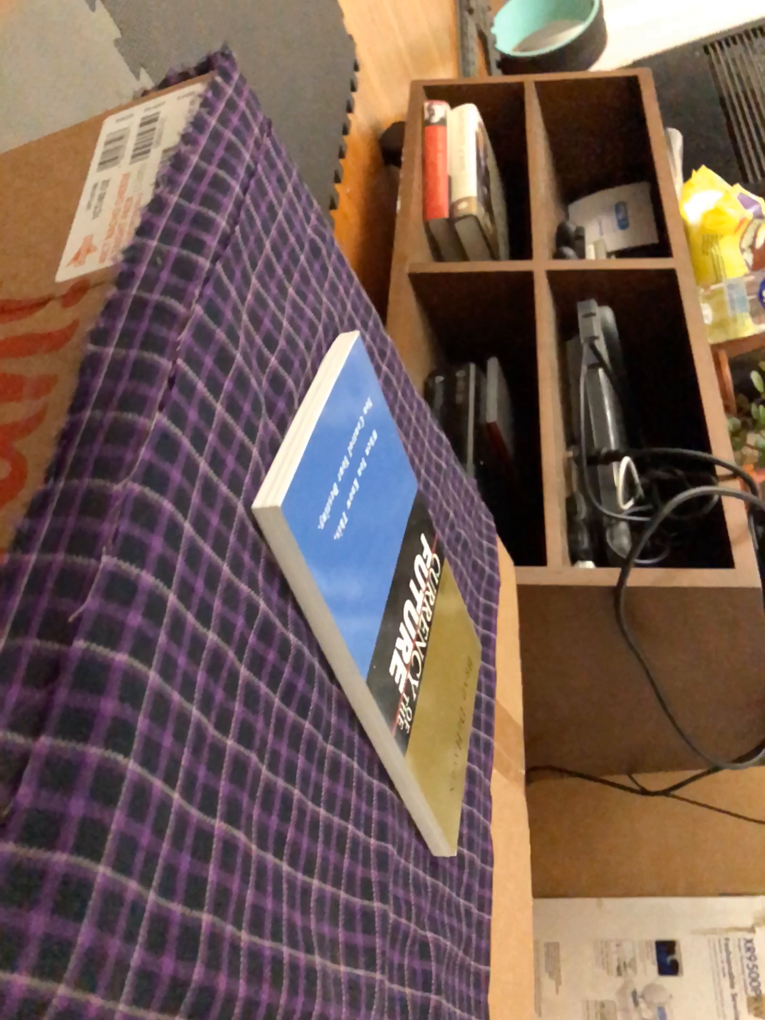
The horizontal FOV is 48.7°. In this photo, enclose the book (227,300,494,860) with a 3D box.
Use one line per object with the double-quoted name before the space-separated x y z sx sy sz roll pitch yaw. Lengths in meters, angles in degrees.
"book" 0.007 0.034 0.400 0.151 0.020 0.220 -74 147 -51
